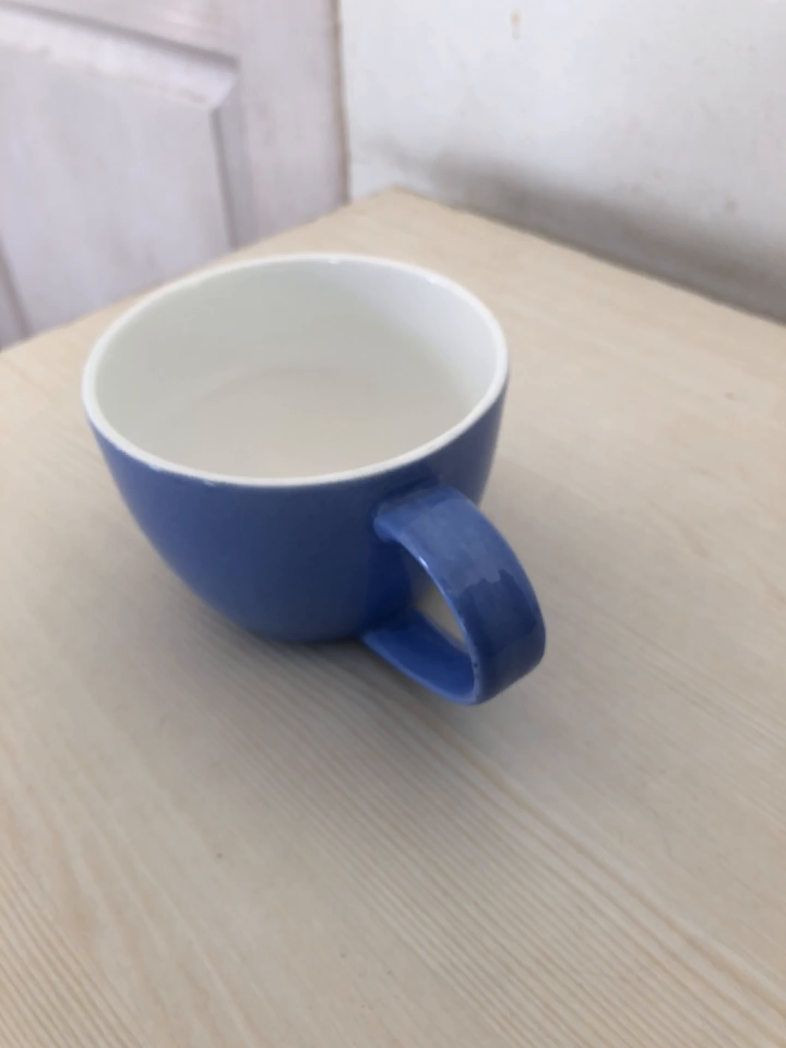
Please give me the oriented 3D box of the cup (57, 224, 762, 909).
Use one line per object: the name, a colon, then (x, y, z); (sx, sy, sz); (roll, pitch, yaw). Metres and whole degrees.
cup: (-0.007, -0.006, 0.230); (0.100, 0.070, 0.151); (-22, 45, -22)
